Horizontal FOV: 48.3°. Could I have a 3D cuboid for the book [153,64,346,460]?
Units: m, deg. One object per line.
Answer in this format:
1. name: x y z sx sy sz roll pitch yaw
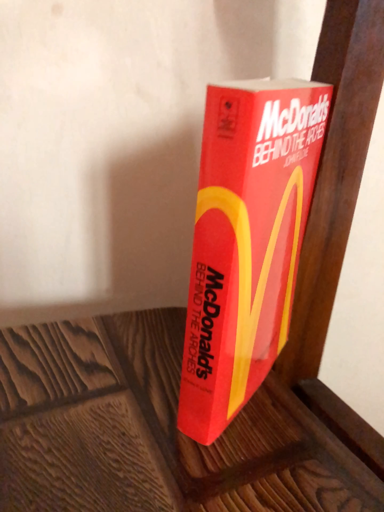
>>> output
1. book: 0.050 -0.007 0.327 0.040 0.239 0.191 17 24 28
